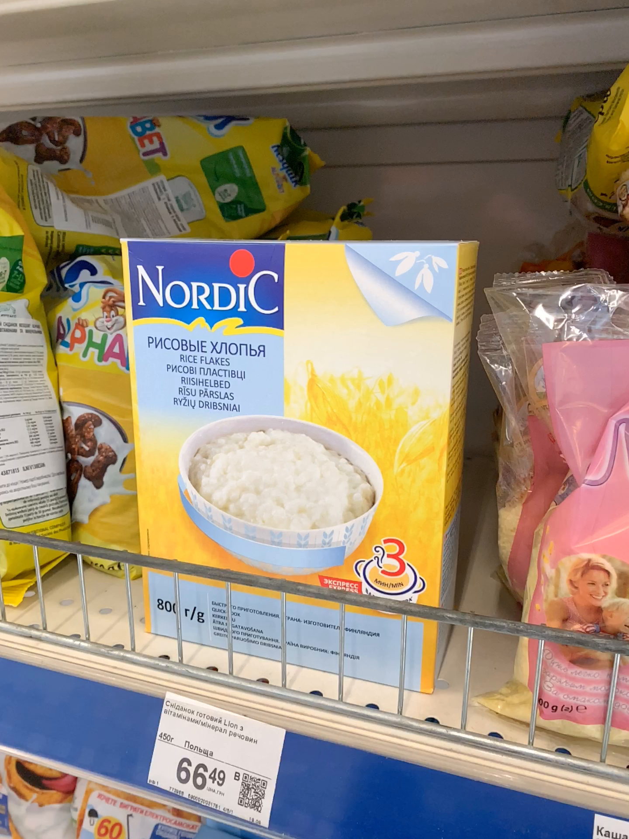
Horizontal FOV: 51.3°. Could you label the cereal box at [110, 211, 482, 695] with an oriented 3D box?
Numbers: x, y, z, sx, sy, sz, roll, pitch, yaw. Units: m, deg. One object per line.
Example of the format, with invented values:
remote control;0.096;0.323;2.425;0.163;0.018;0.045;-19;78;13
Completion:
cereal box;-0.005;0.006;0.320;0.150;0.199;0.080;5;14;19
